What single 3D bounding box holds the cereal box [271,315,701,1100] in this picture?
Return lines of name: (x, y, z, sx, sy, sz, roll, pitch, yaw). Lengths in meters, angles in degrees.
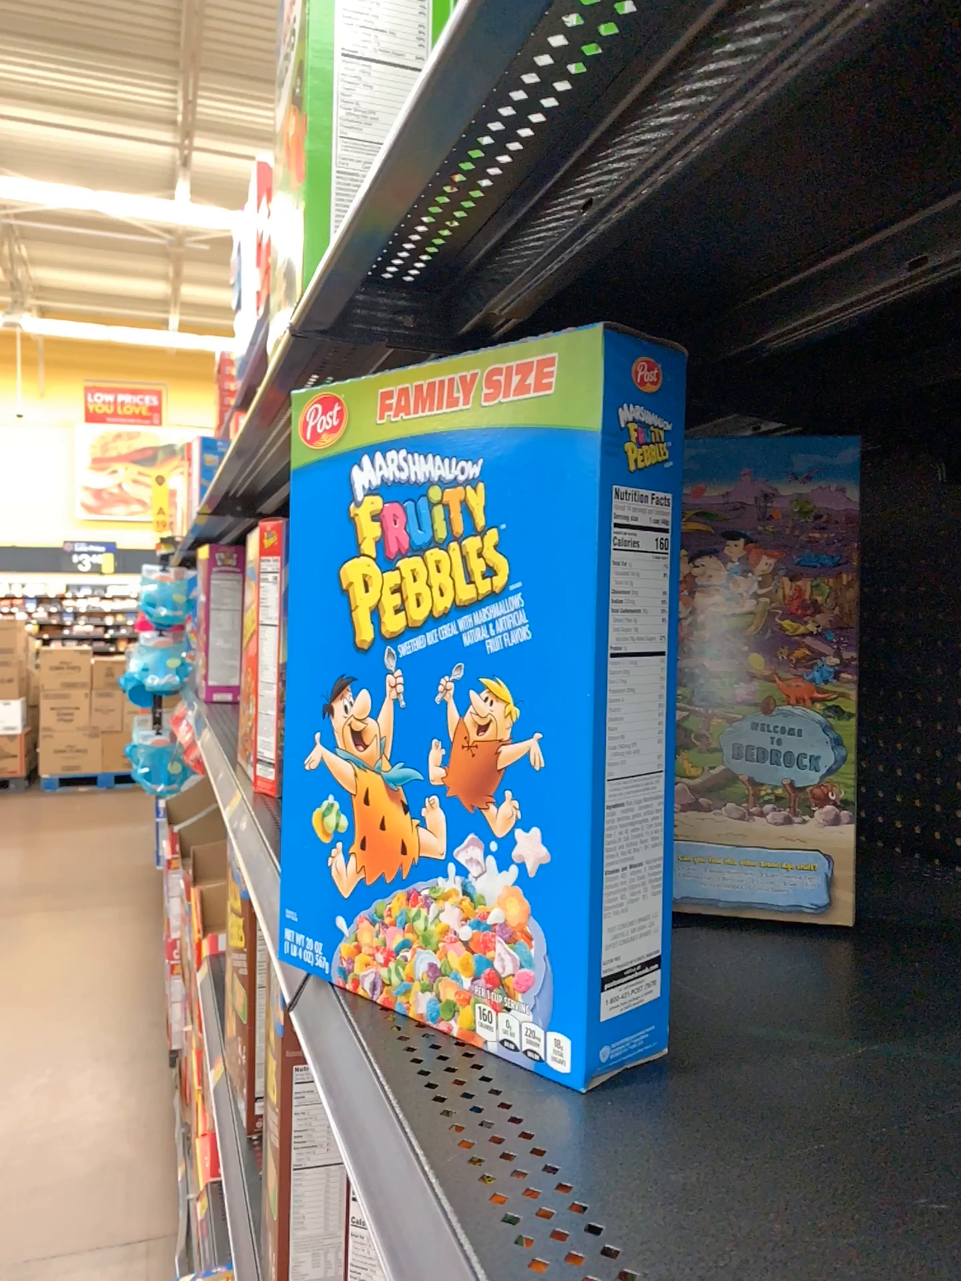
cereal box: (-0.009, 0.024, 0.518, 0.230, 0.330, 0.070, 3, 2, 43)
